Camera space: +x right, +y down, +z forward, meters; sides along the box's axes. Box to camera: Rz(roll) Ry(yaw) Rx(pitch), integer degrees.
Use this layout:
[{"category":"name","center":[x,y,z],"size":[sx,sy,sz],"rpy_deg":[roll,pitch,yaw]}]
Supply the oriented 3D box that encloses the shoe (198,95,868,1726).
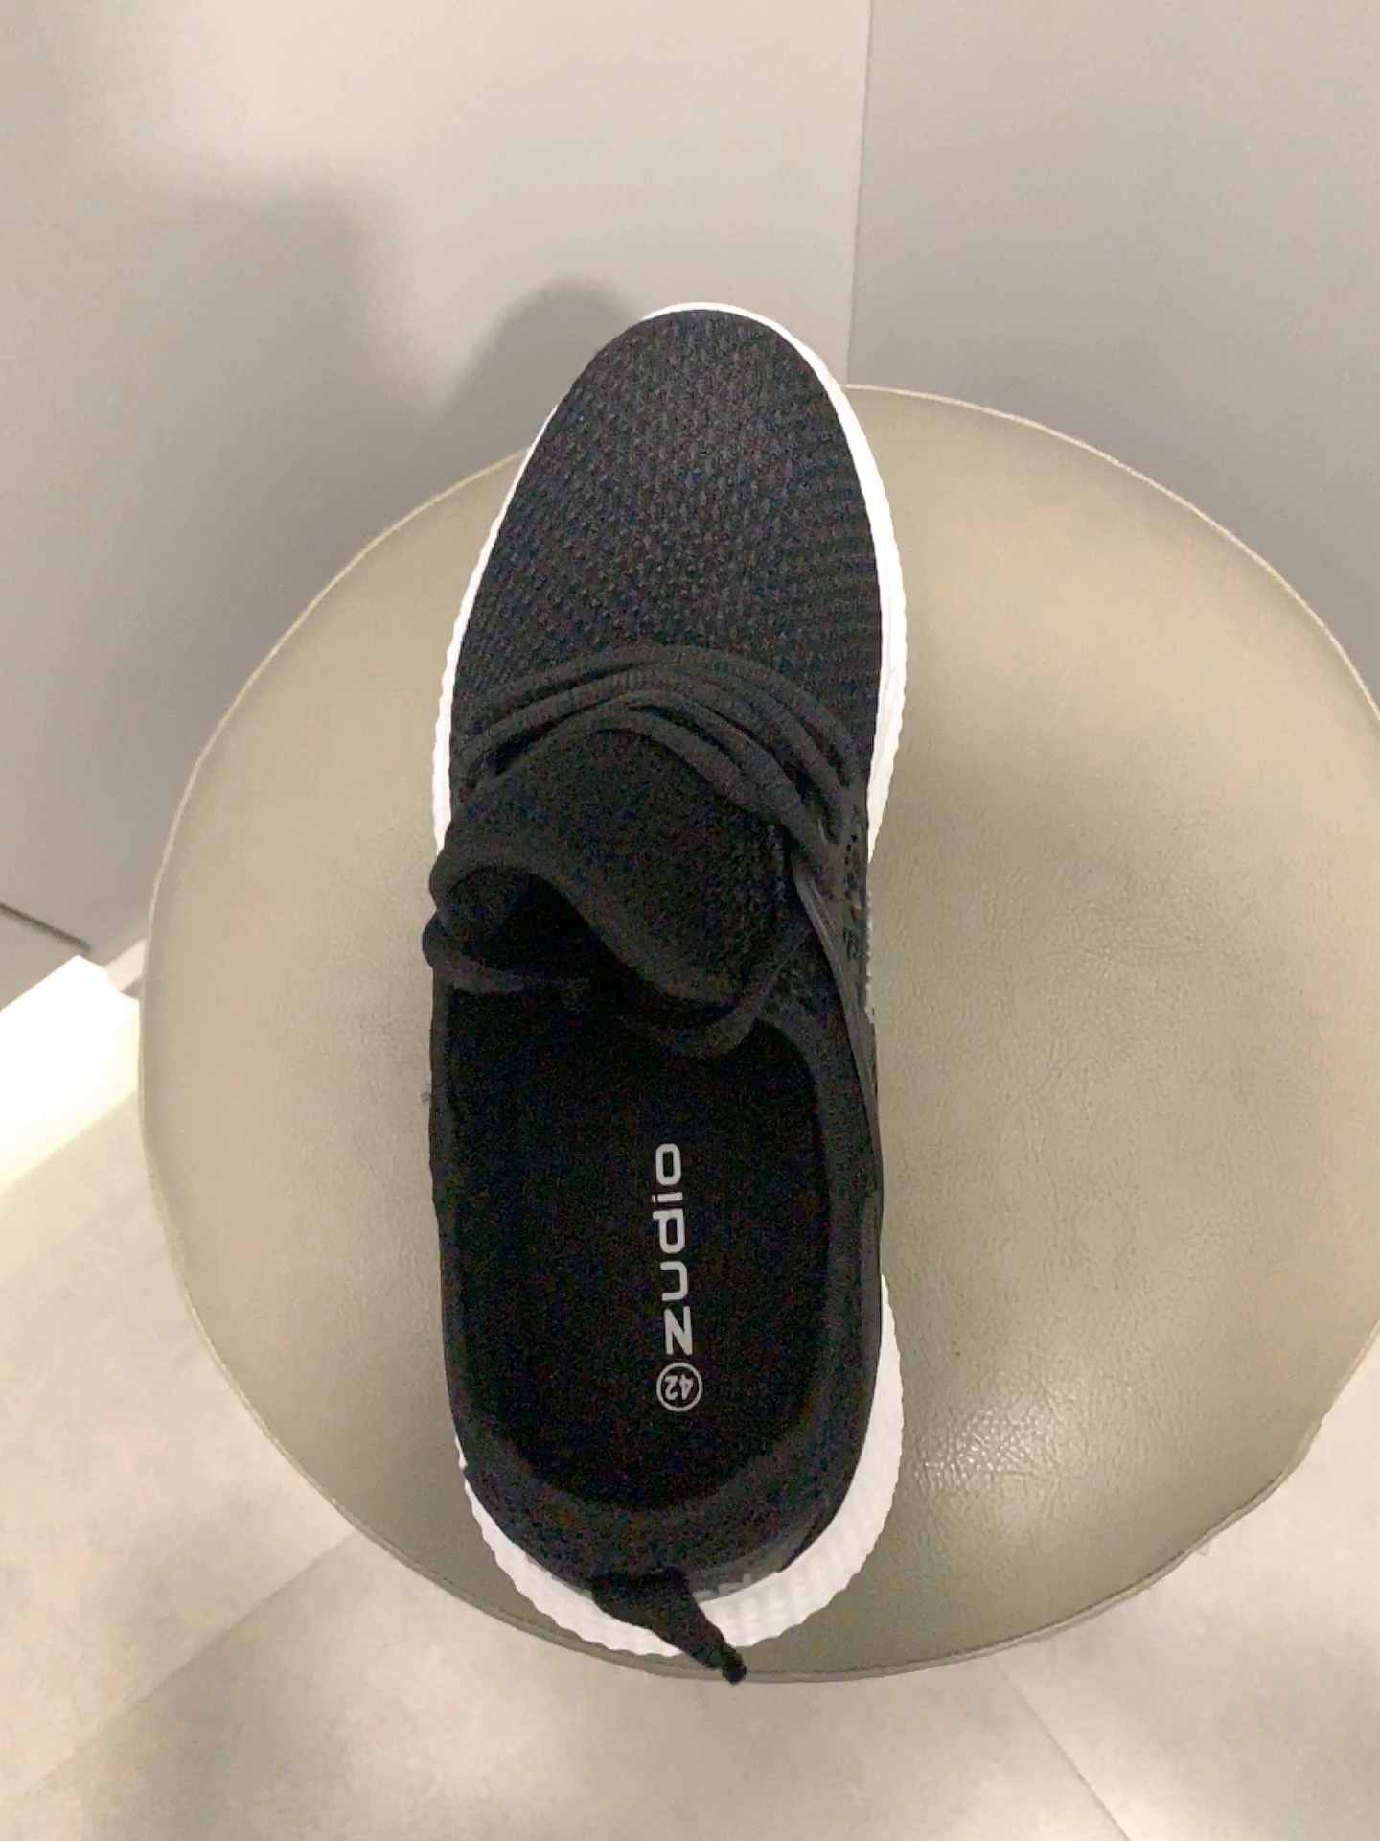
[{"category":"shoe","center":[-0.017,-0.009,0.303],"size":[0.100,0.110,0.290],"rpy_deg":[1,77,5]}]
